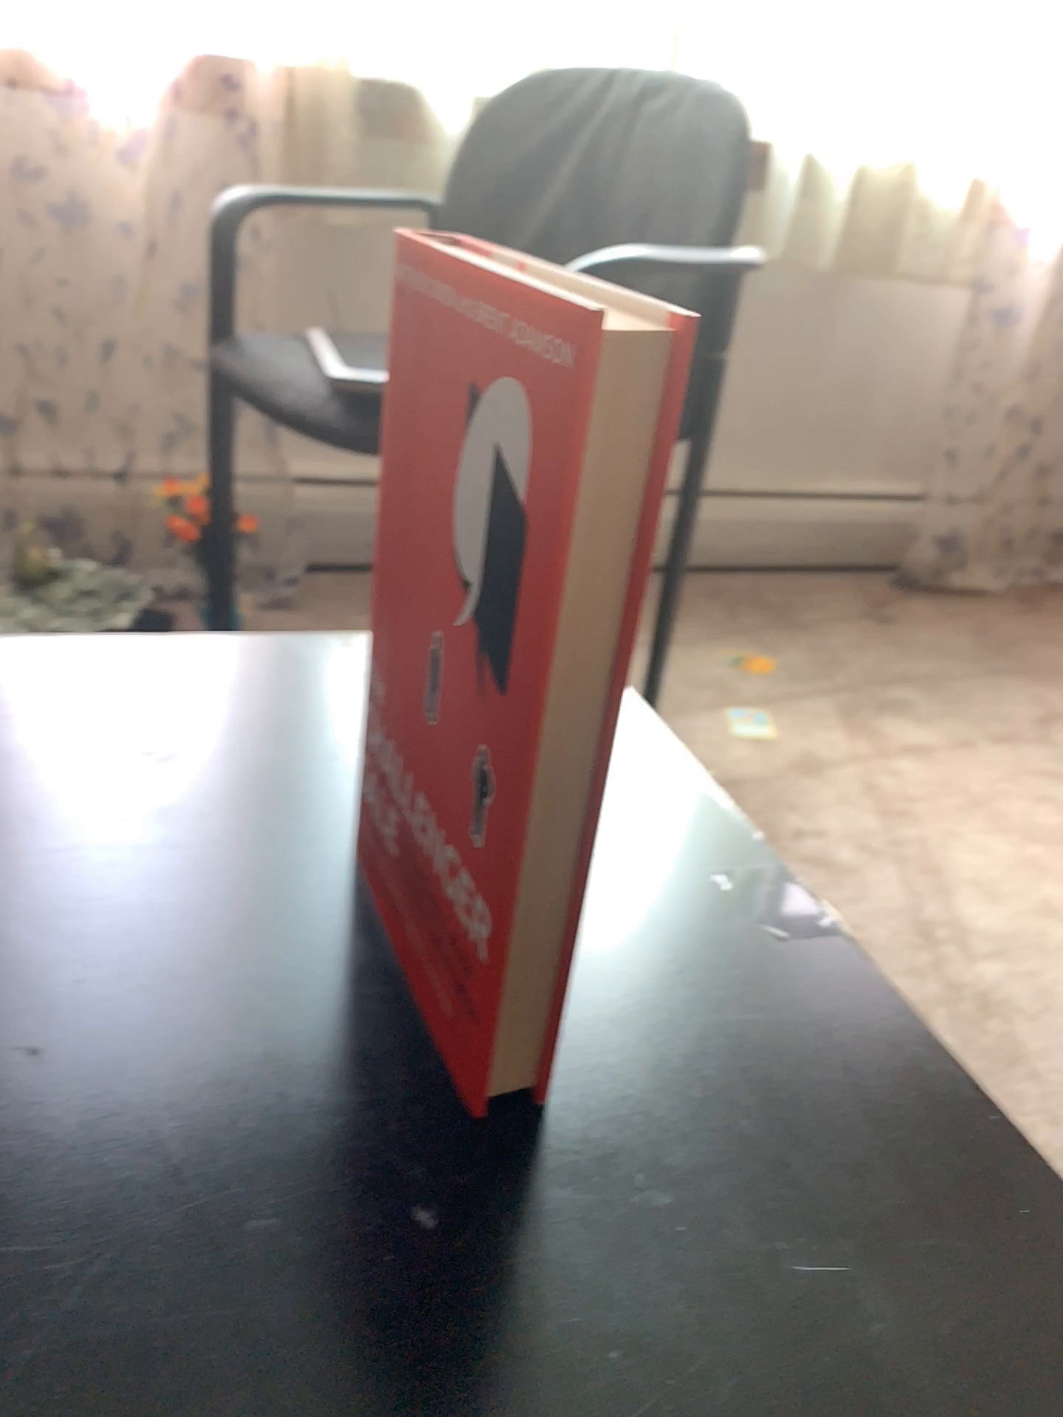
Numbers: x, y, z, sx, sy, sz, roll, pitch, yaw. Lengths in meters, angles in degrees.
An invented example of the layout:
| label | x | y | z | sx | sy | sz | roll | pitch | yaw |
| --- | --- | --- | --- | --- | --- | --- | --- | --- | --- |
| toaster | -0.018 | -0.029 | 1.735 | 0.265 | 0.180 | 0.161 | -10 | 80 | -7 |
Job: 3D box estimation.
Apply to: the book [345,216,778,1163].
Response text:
| label | x | y | z | sx | sy | sz | roll | pitch | yaw |
| --- | --- | --- | --- | --- | --- | --- | --- | --- | --- |
| book | -0.013 | -0.015 | 0.346 | 0.040 | 0.238 | 0.171 | -3 | 27 | -23 |
